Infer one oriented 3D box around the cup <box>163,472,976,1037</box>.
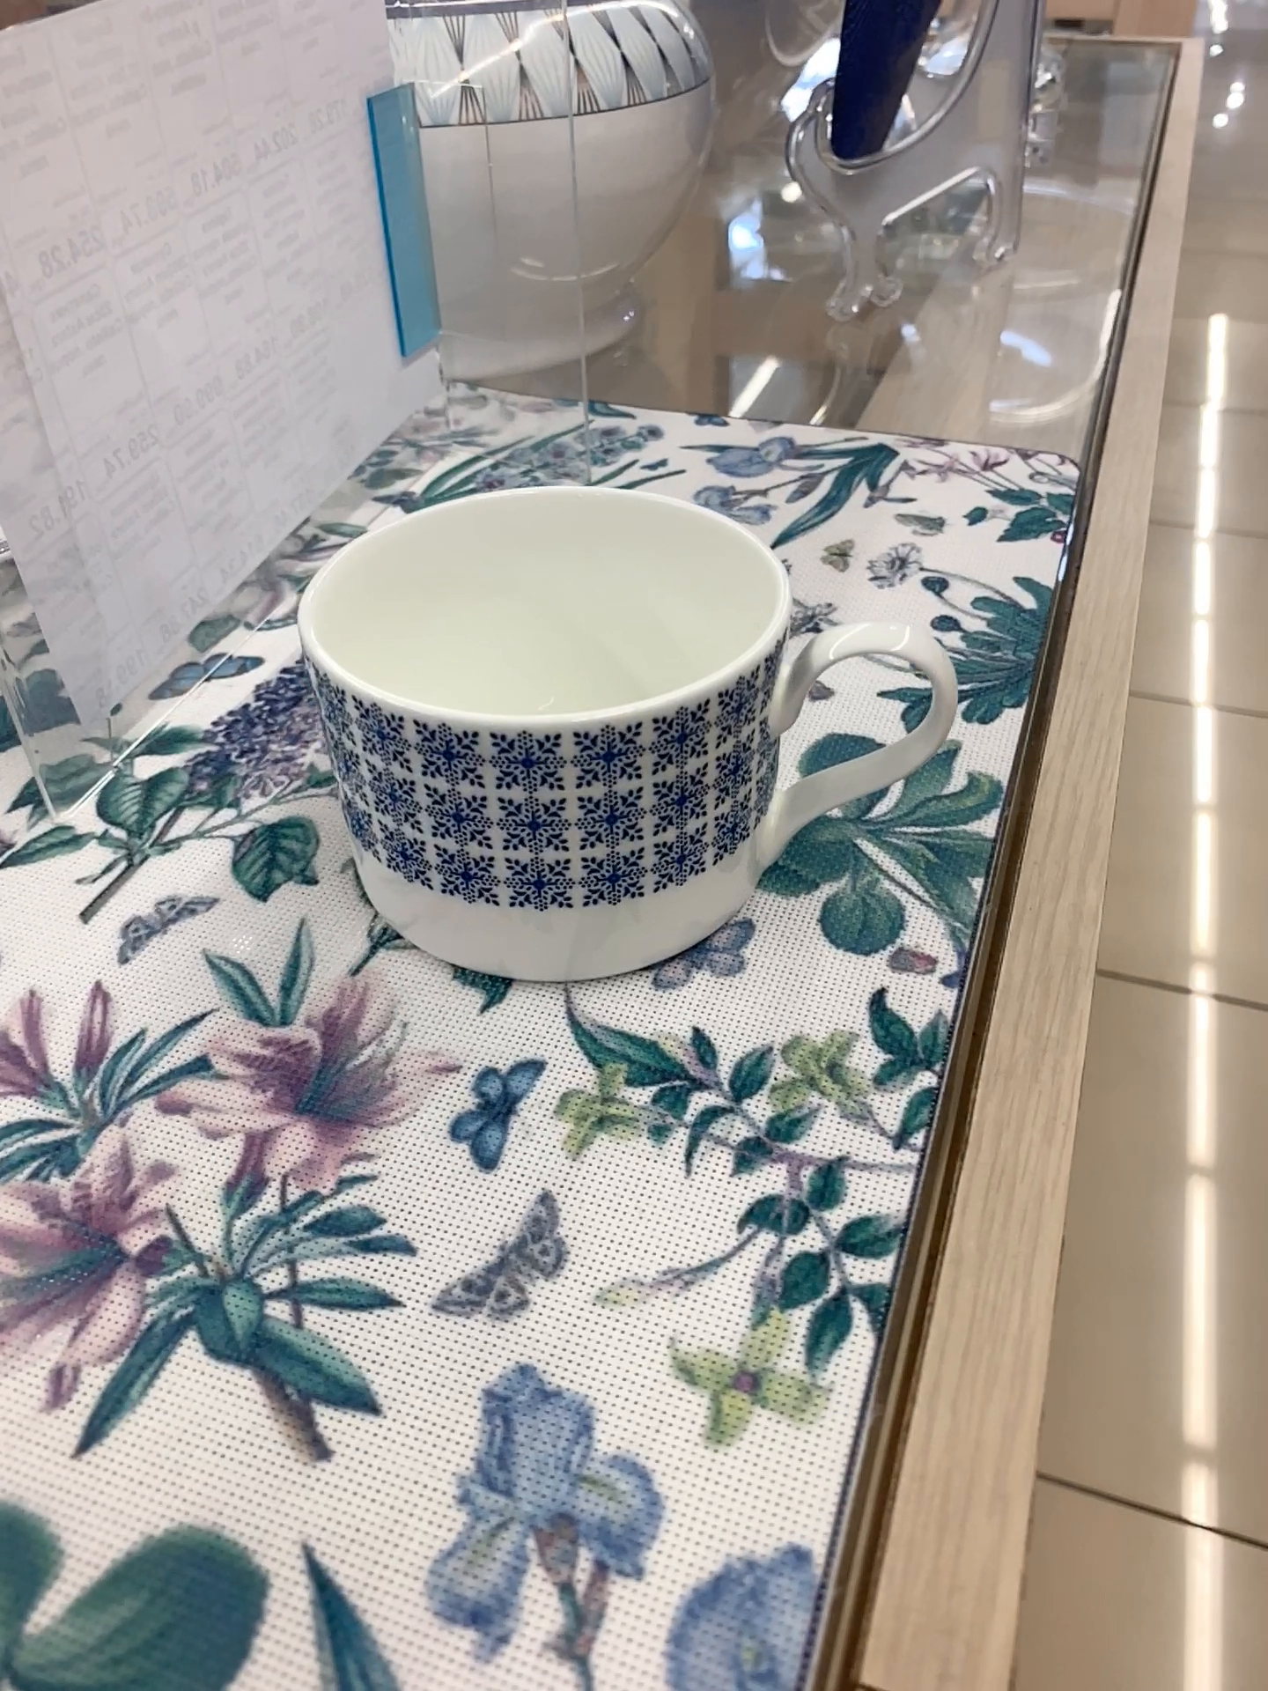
[{"bbox_3d":[-0.007,-0.022,0.246,0.120,0.060,0.090,3,39,4],"label":"cup"}]
